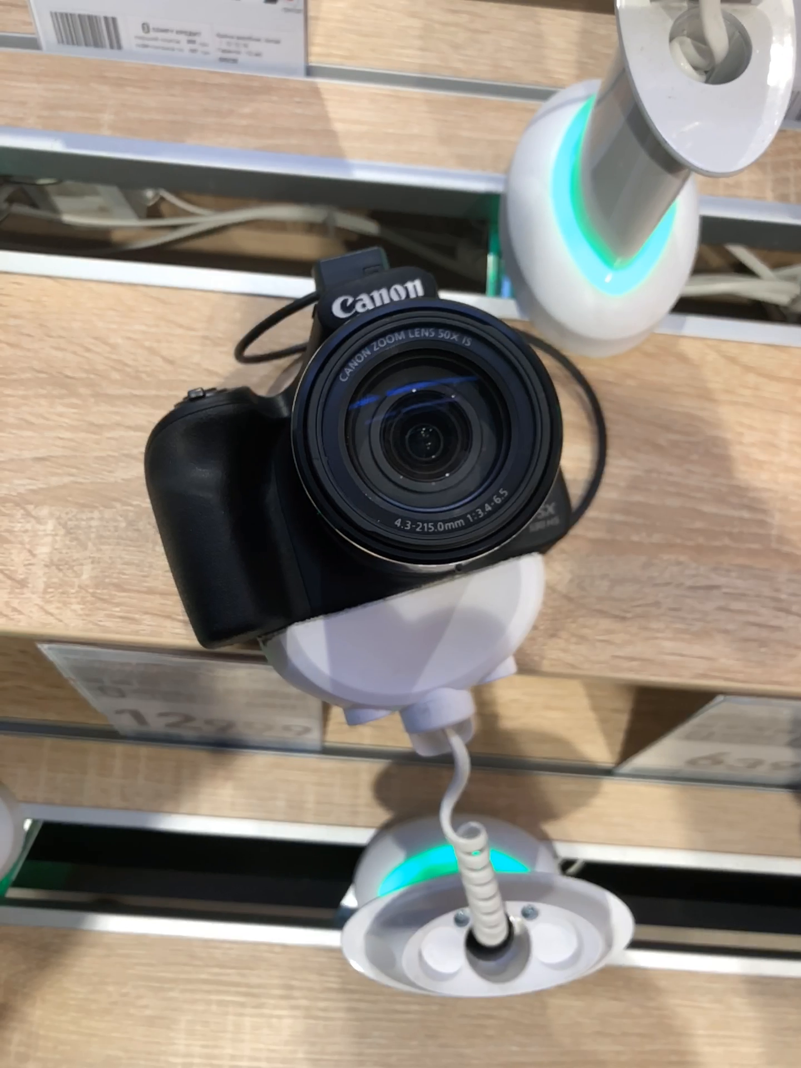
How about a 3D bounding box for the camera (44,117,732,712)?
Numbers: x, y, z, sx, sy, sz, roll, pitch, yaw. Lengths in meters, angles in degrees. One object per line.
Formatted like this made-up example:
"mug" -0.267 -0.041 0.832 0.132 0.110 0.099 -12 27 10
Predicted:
"camera" -0.005 -0.027 0.251 0.133 0.091 0.106 -17 86 -6
